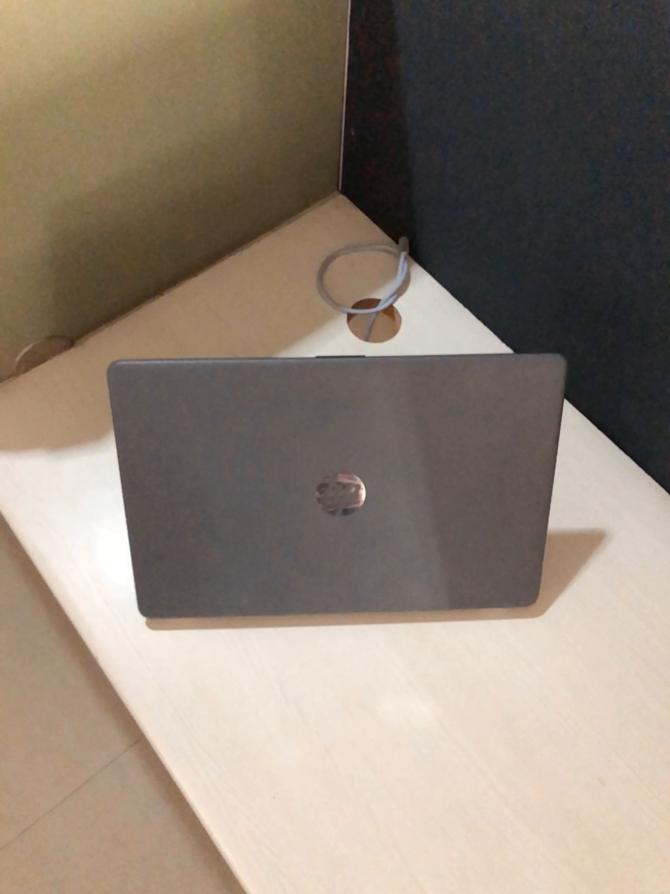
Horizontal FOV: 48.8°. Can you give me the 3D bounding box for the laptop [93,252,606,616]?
[{"bbox_3d":[0.004,-0.004,0.664,0.361,0.204,0.247,-1,63,-2],"label":"laptop"}]
